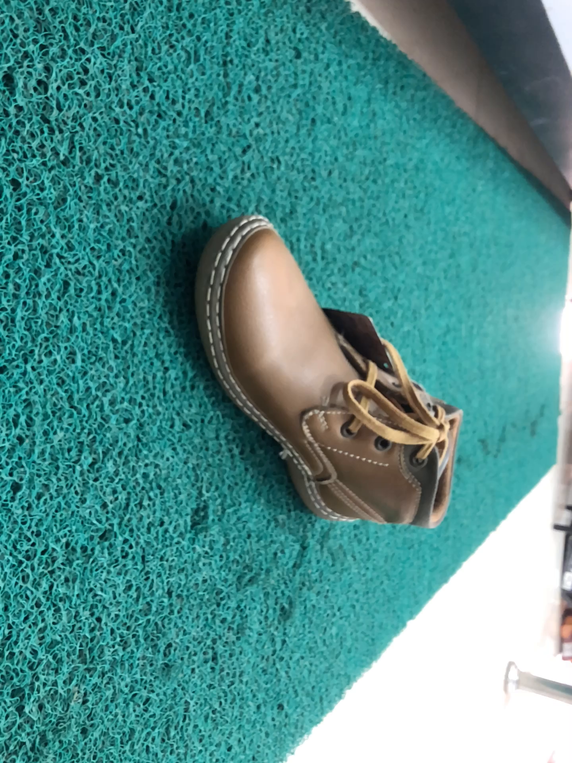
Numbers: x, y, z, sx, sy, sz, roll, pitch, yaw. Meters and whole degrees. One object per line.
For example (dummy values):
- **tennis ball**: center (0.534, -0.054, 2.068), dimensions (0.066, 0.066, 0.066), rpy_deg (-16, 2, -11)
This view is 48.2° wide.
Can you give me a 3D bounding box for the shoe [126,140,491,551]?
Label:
- **shoe**: center (0.042, -0.003, 0.442), dimensions (0.292, 0.129, 0.100), rpy_deg (57, 48, -45)
